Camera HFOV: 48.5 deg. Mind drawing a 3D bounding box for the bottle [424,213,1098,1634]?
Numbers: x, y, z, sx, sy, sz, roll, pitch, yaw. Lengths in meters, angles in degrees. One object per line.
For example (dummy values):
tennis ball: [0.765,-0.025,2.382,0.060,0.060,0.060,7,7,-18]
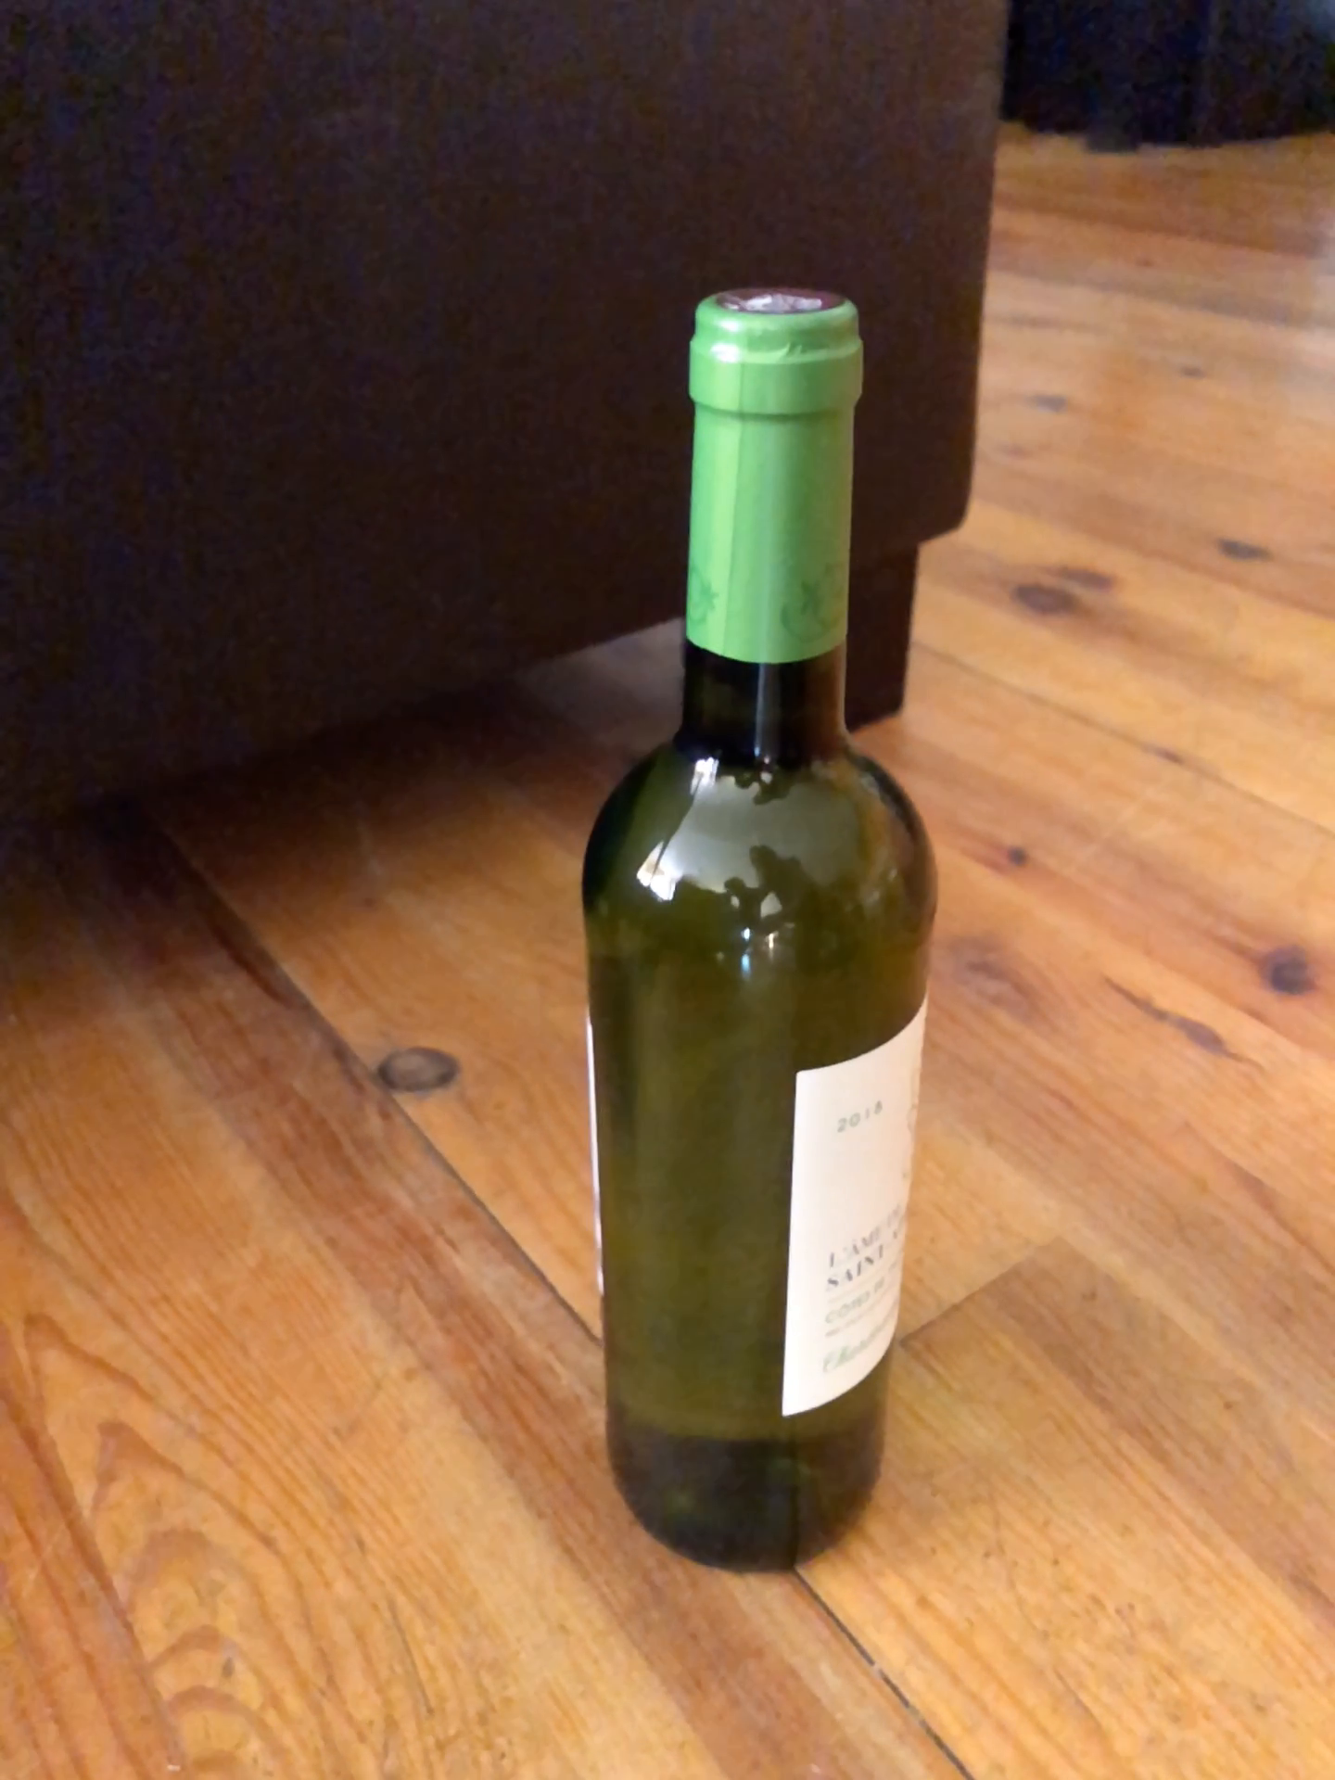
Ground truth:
bottle: [0.021,0.022,0.325,0.080,0.298,0.080,-1,32,1]
